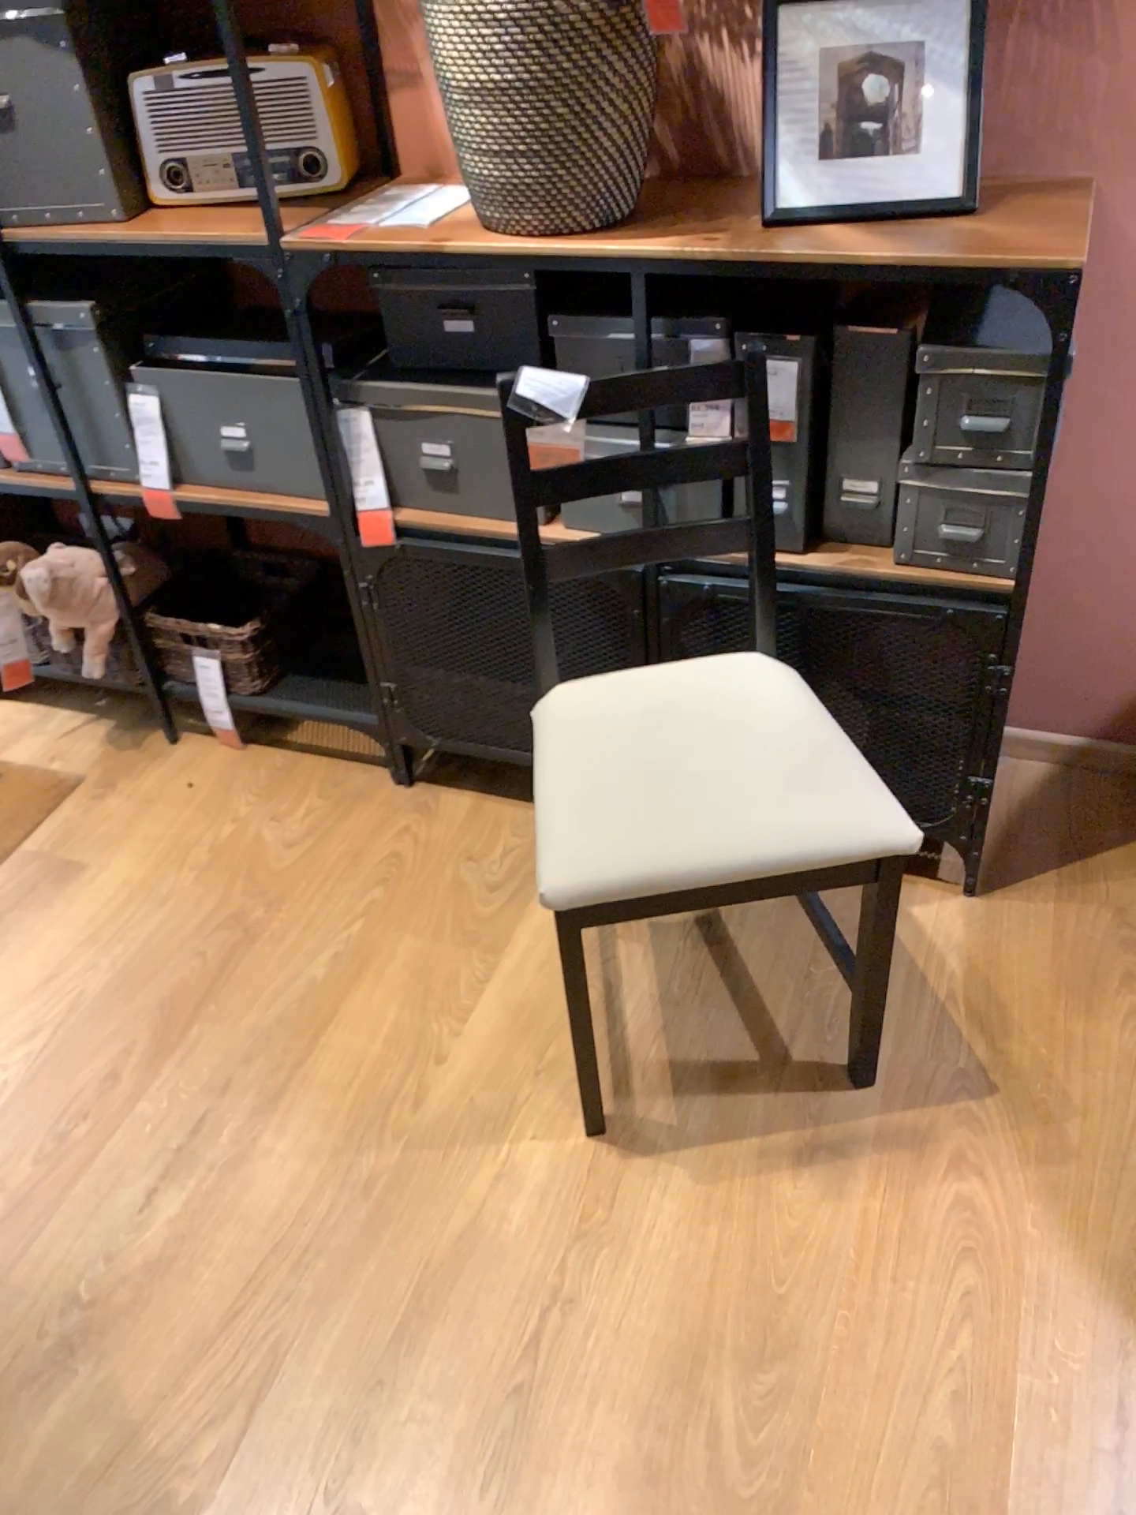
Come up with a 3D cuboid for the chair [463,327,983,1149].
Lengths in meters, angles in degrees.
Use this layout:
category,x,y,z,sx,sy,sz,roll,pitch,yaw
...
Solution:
category,x,y,z,sx,sy,sz,roll,pitch,yaw
chair,0.147,-0.009,1.399,0.410,0.796,0.502,-8,38,-2
